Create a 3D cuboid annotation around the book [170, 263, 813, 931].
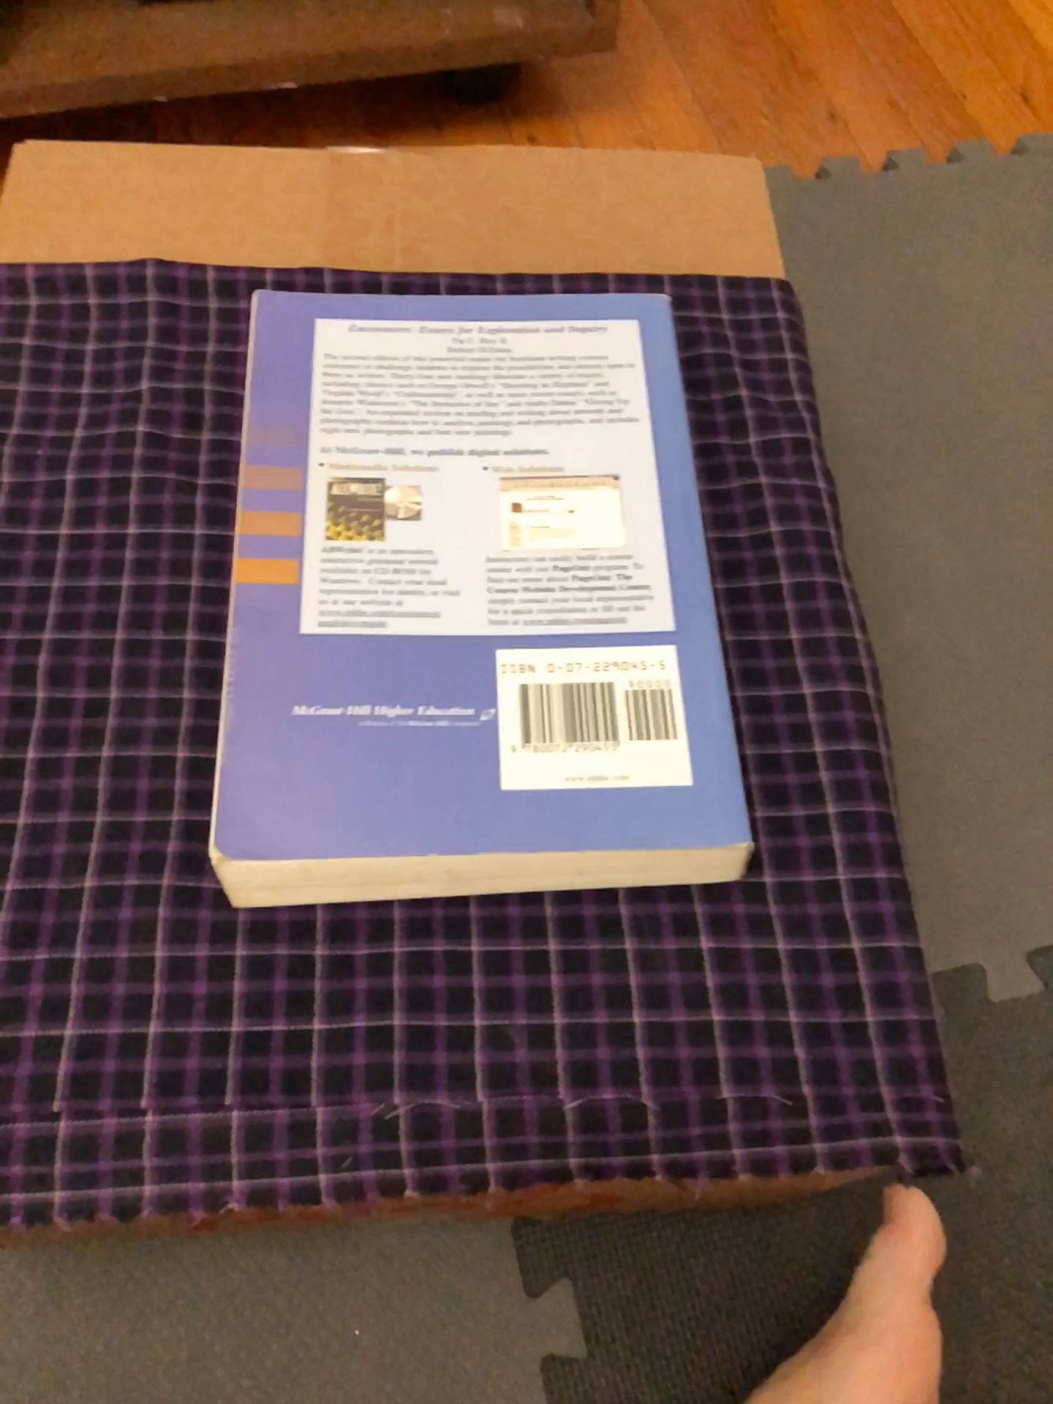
[{"bbox_3d":[-0.018,-0.050,0.400,0.180,0.040,0.241,-3,61,-4],"label":"book"}]
